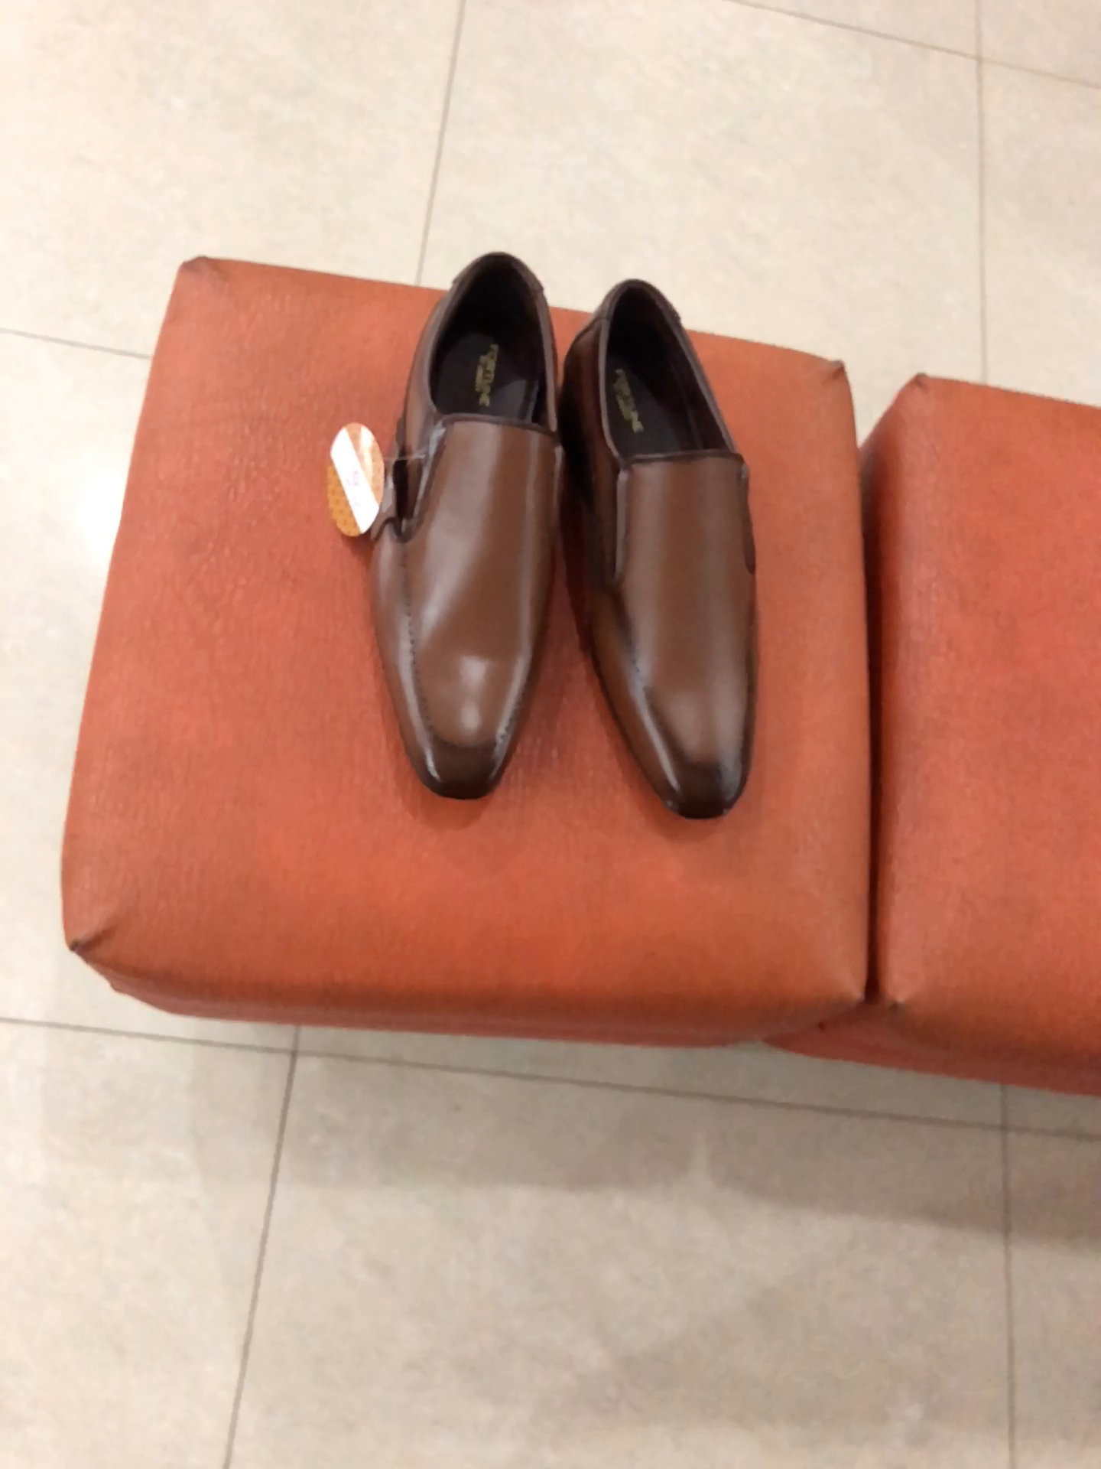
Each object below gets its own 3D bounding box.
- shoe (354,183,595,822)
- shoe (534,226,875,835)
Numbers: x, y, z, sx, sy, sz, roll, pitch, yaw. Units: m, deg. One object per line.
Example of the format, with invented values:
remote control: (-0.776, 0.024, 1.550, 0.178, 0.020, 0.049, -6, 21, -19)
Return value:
shoe: (-0.040, -0.116, 0.640, 0.099, 0.128, 0.293, 5, 71, -9)
shoe: (0.070, -0.108, 0.647, 0.101, 0.108, 0.295, -5, 73, -12)
